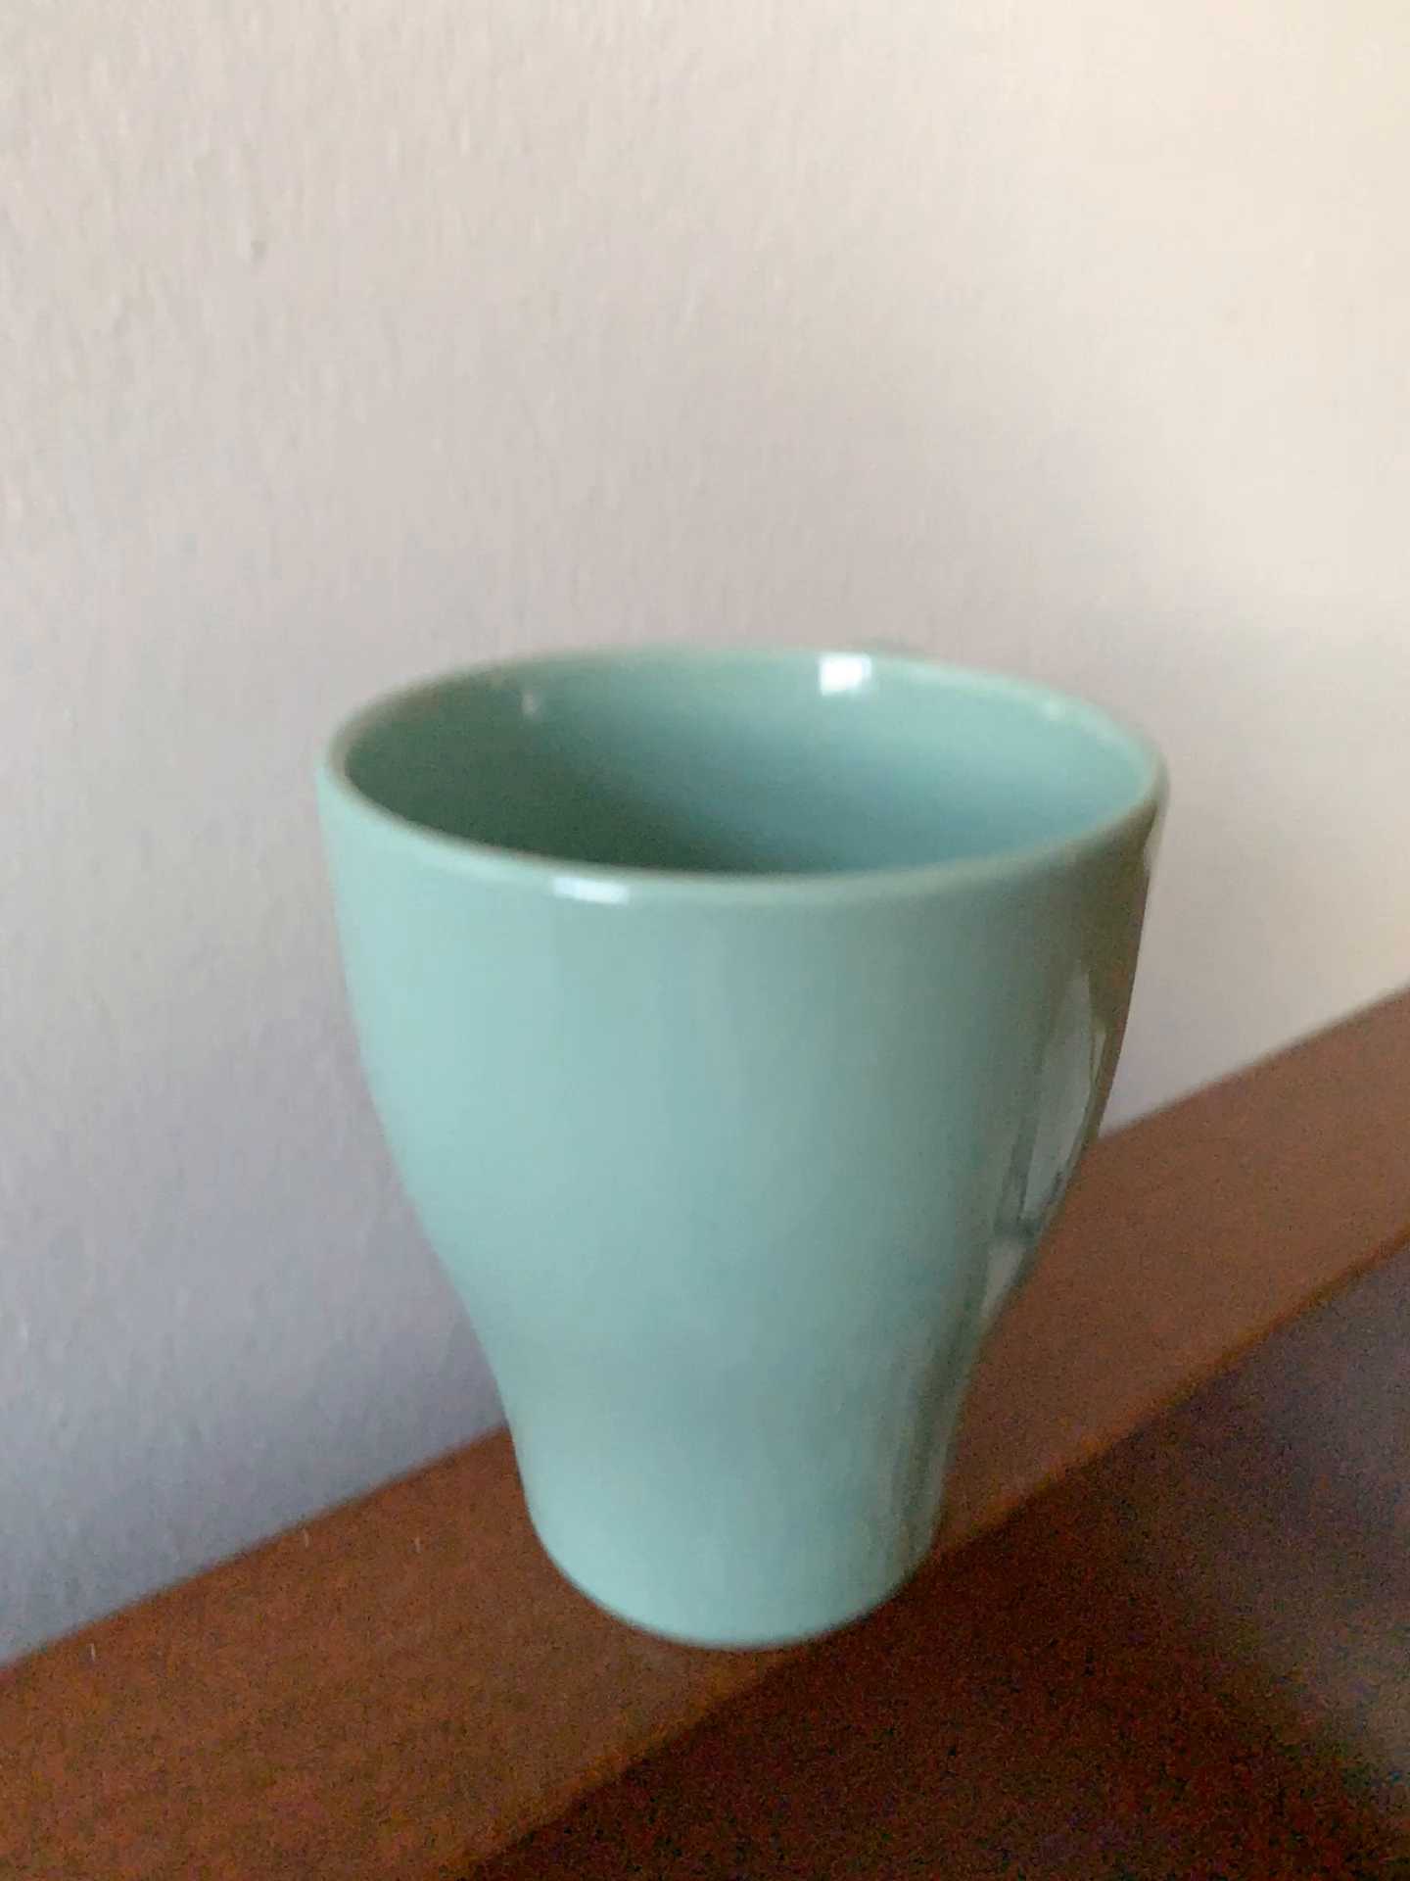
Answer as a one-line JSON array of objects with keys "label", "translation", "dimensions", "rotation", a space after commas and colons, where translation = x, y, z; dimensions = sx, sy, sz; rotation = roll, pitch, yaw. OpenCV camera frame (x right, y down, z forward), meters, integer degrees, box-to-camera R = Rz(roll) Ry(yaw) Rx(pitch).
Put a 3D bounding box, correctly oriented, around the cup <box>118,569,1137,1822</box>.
[{"label": "cup", "translation": [0.004, 0.012, 0.186], "dimensions": [0.081, 0.091, 0.123], "rotation": [9, 23, 12]}]
